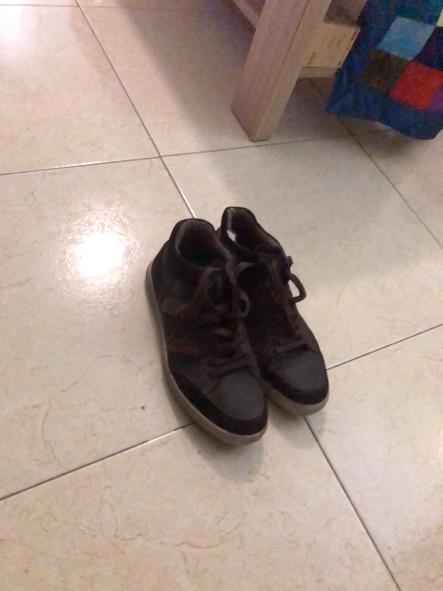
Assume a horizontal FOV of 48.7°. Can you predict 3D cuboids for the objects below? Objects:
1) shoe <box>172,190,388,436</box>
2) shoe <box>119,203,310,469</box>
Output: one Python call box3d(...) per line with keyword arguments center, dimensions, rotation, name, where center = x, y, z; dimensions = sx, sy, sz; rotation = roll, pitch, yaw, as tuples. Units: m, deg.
box3d(center=(0.063, 0.013, 0.665), dimensions=(0.120, 0.110, 0.300), rotation=(-19, 65, -29), name="shoe")
box3d(center=(-0.026, 0.038, 0.615), dimensions=(0.120, 0.110, 0.300), rotation=(-10, 60, -25), name="shoe")
